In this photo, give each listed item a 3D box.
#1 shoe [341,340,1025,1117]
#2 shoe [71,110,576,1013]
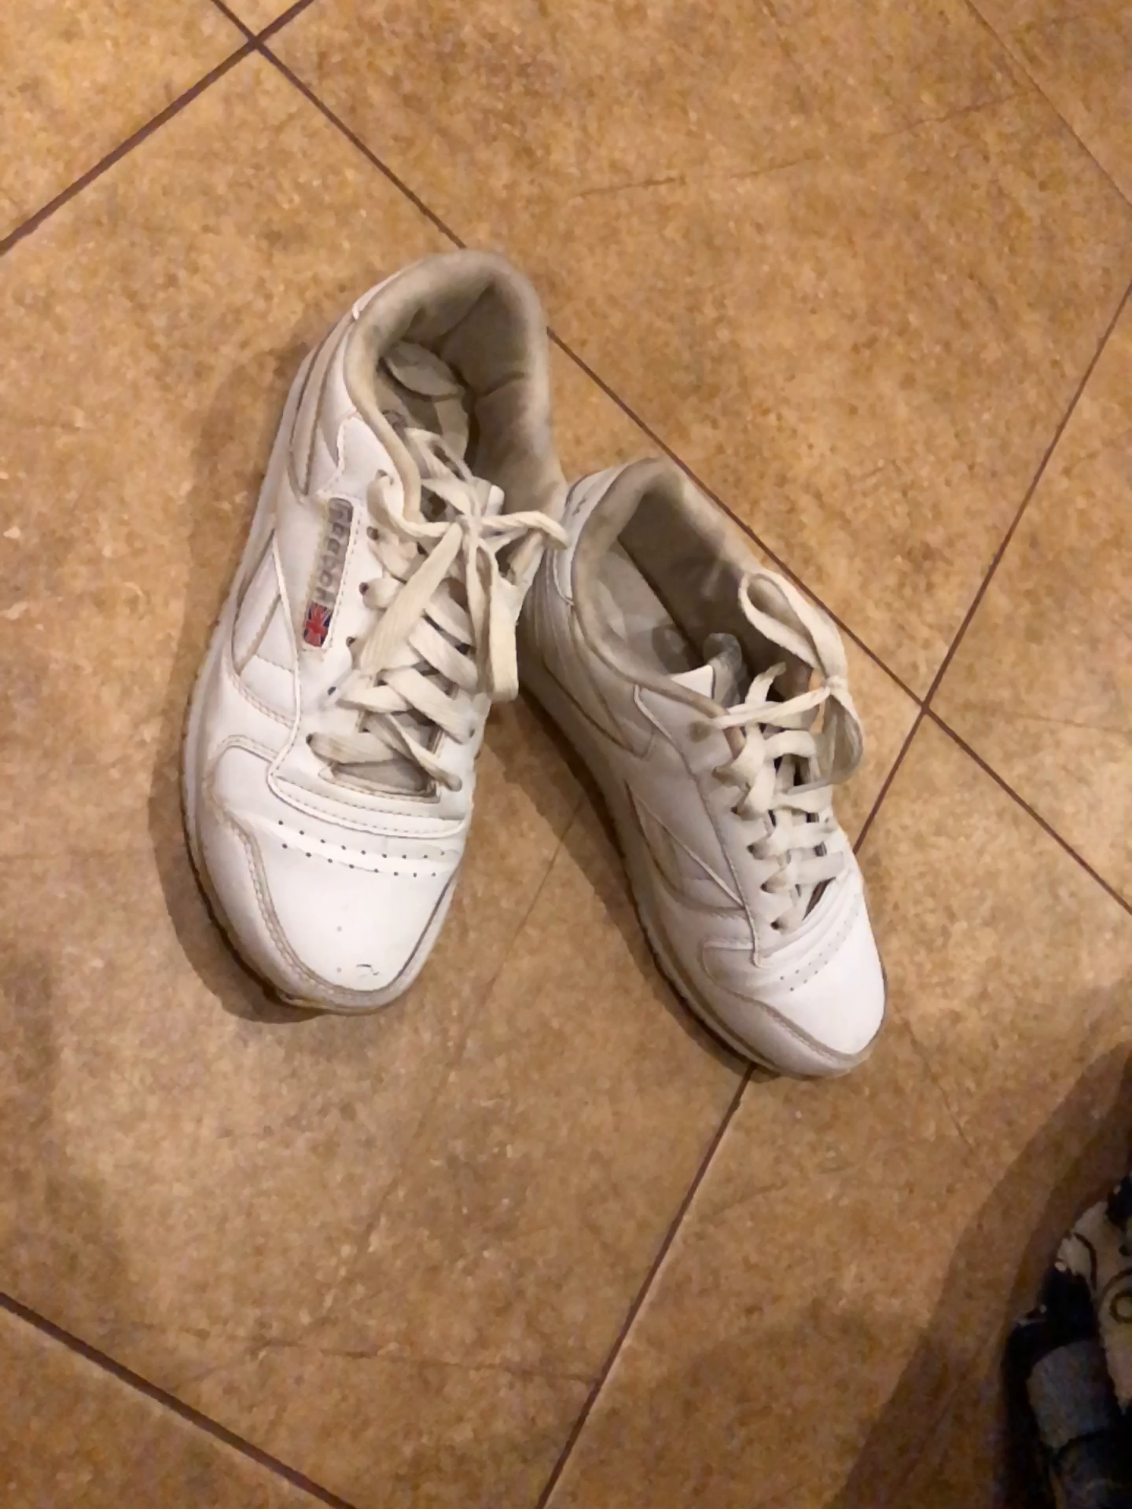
[{"bbox_3d":[0.044,-0.004,0.468,0.110,0.100,0.250,-35,97,-32],"label":"shoe"},{"bbox_3d":[-0.076,-0.054,0.413,0.100,0.100,0.260,14,71,-27],"label":"shoe"}]
